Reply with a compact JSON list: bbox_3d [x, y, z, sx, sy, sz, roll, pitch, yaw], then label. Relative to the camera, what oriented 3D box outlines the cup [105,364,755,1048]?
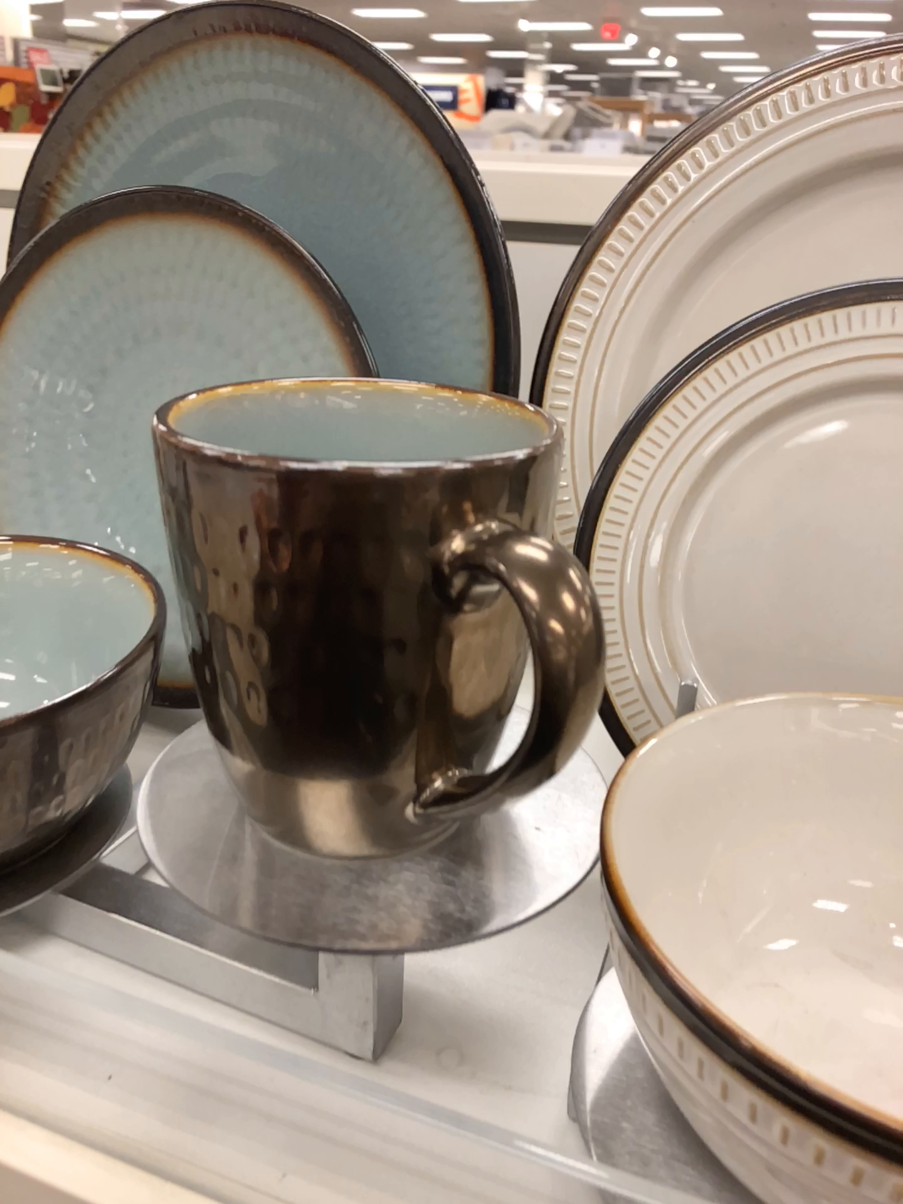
[{"bbox_3d":[-0.011,0.009,0.234,0.083,0.100,0.117,-18,31,-37],"label":"cup"}]
